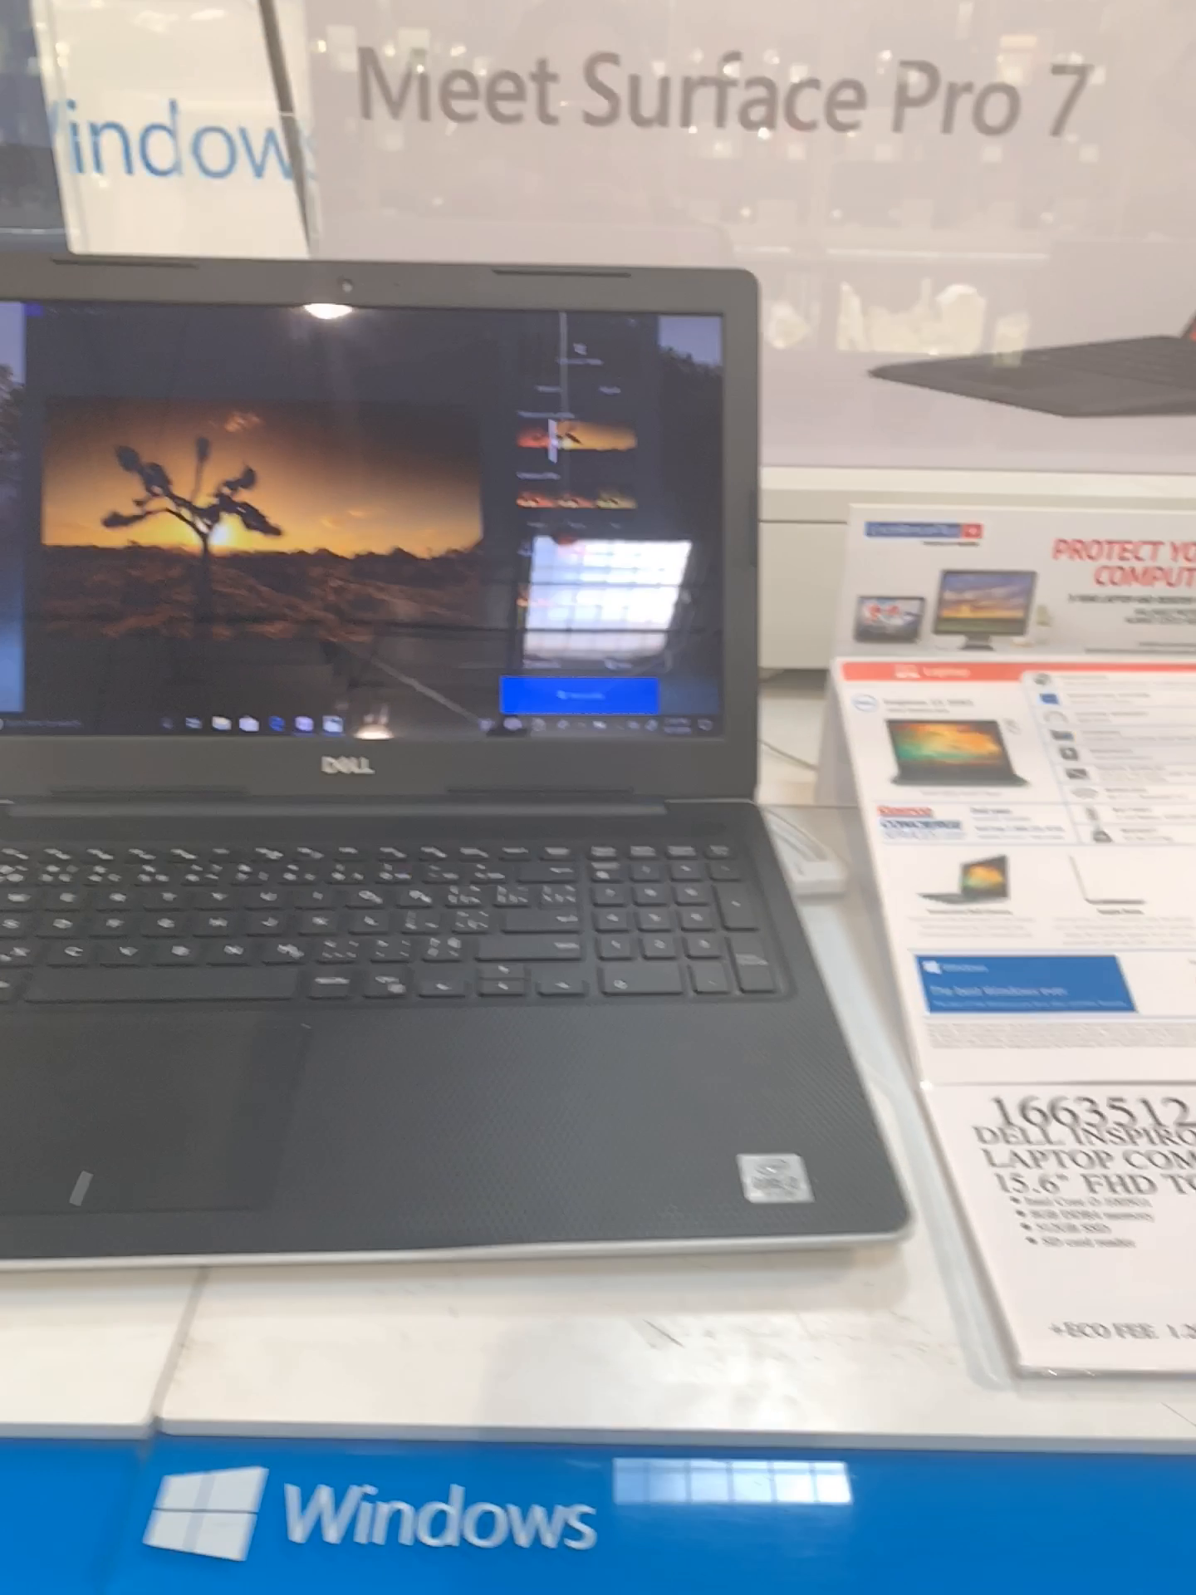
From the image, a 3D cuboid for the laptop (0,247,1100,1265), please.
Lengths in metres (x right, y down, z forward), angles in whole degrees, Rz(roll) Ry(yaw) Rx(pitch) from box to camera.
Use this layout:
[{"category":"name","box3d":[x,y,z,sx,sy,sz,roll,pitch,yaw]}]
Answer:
[{"category":"laptop","box3d":[-0.097,-0.056,0.419,0.357,0.205,0.343,0,27,-5]}]
